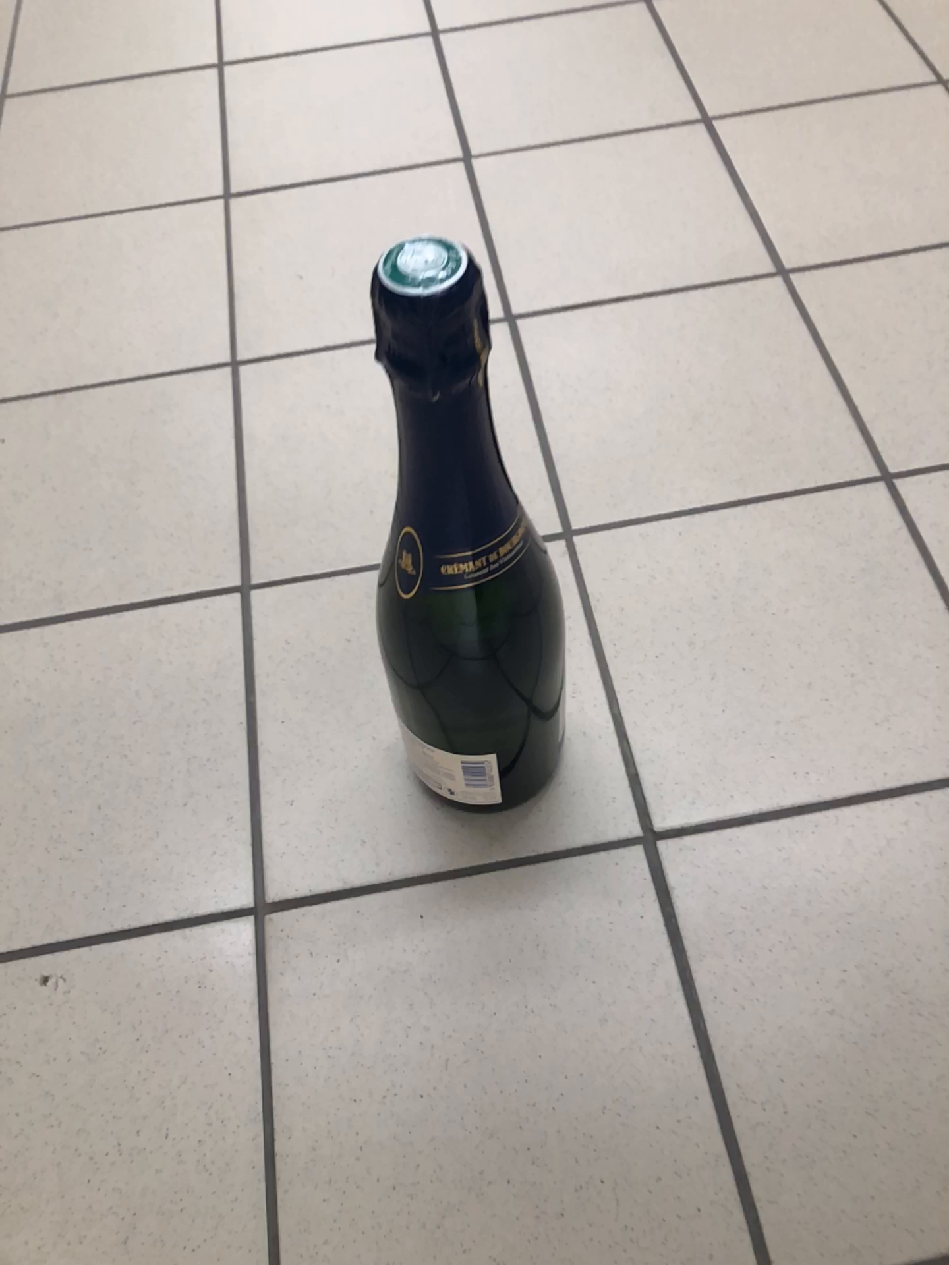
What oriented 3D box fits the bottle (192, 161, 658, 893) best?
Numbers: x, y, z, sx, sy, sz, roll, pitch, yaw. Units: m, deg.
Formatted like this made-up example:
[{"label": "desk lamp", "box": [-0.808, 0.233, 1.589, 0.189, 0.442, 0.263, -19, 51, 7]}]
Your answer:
[{"label": "bottle", "box": [-0.006, -0.013, 0.439, 0.100, 0.308, 0.100, -2, 56, 3]}]
